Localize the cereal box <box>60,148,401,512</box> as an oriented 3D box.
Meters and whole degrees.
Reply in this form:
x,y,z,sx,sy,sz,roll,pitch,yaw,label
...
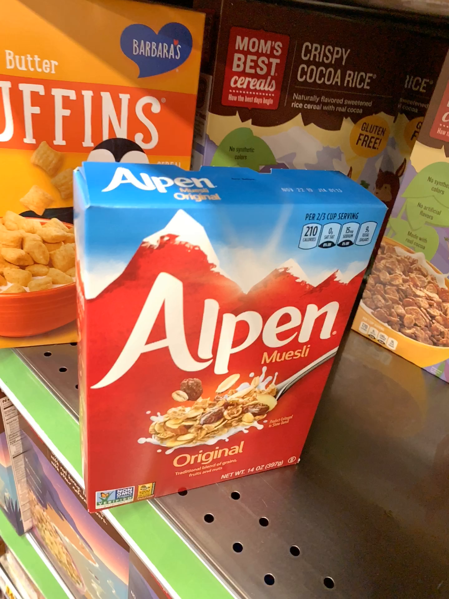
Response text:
x,y,z,sx,sy,sz,roll,pitch,yaw,label
-0.007,0.026,0.274,0.160,0.209,0.040,-4,34,-22,cereal box
